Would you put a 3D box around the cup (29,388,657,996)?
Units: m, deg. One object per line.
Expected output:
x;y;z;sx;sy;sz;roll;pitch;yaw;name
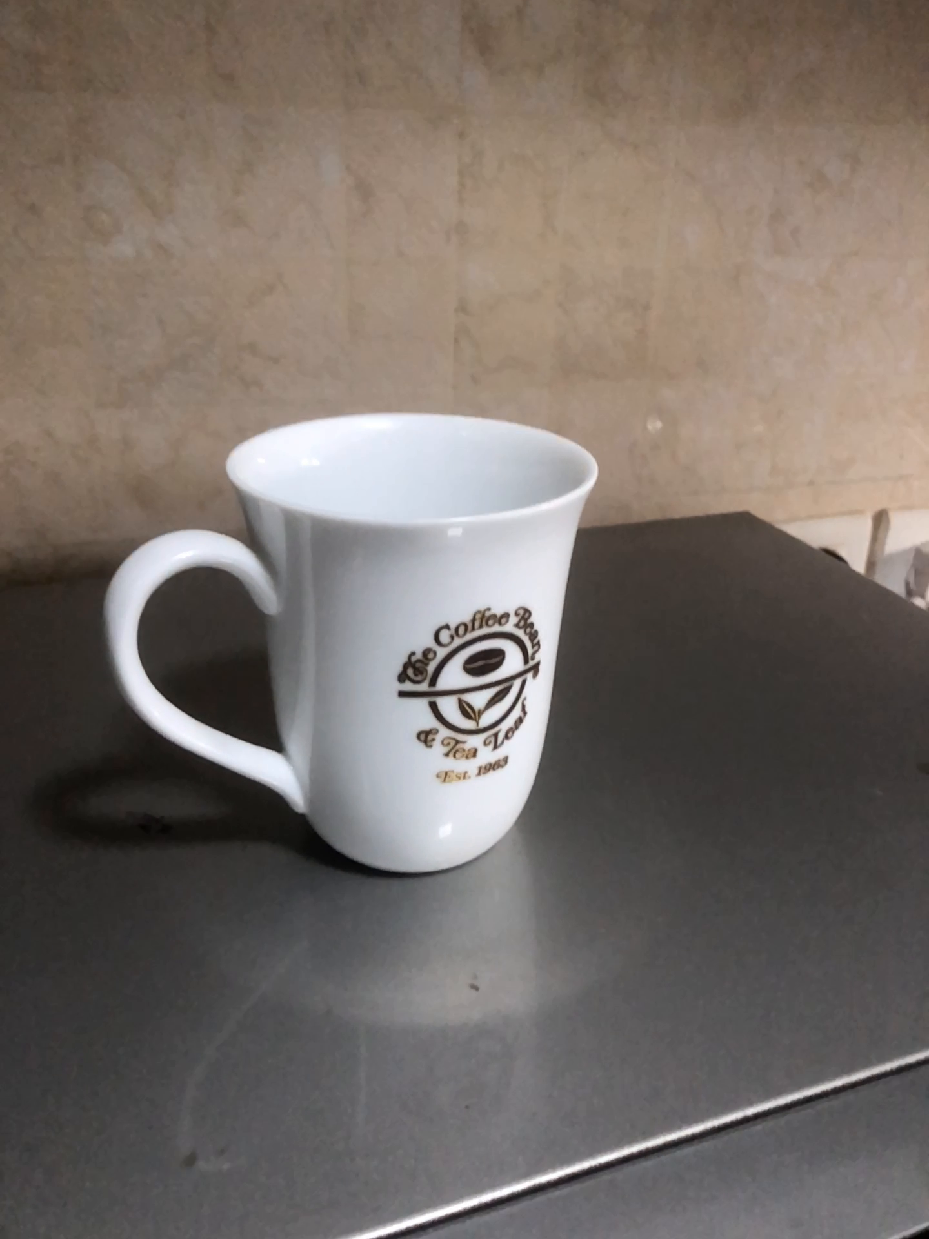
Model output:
-0.033;0.007;0.282;0.130;0.109;0.090;-13;28;-30;cup
